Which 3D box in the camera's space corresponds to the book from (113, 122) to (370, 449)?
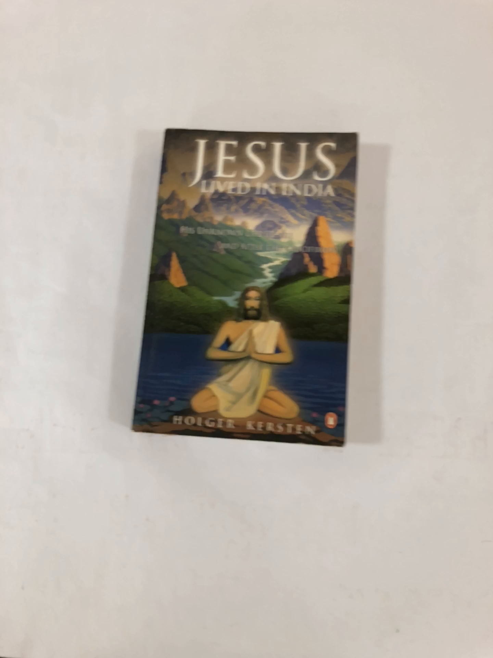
[{"bbox_3d":[0.001,-0.033,0.371,0.150,0.030,0.210,3,79,6],"label":"book"}]
